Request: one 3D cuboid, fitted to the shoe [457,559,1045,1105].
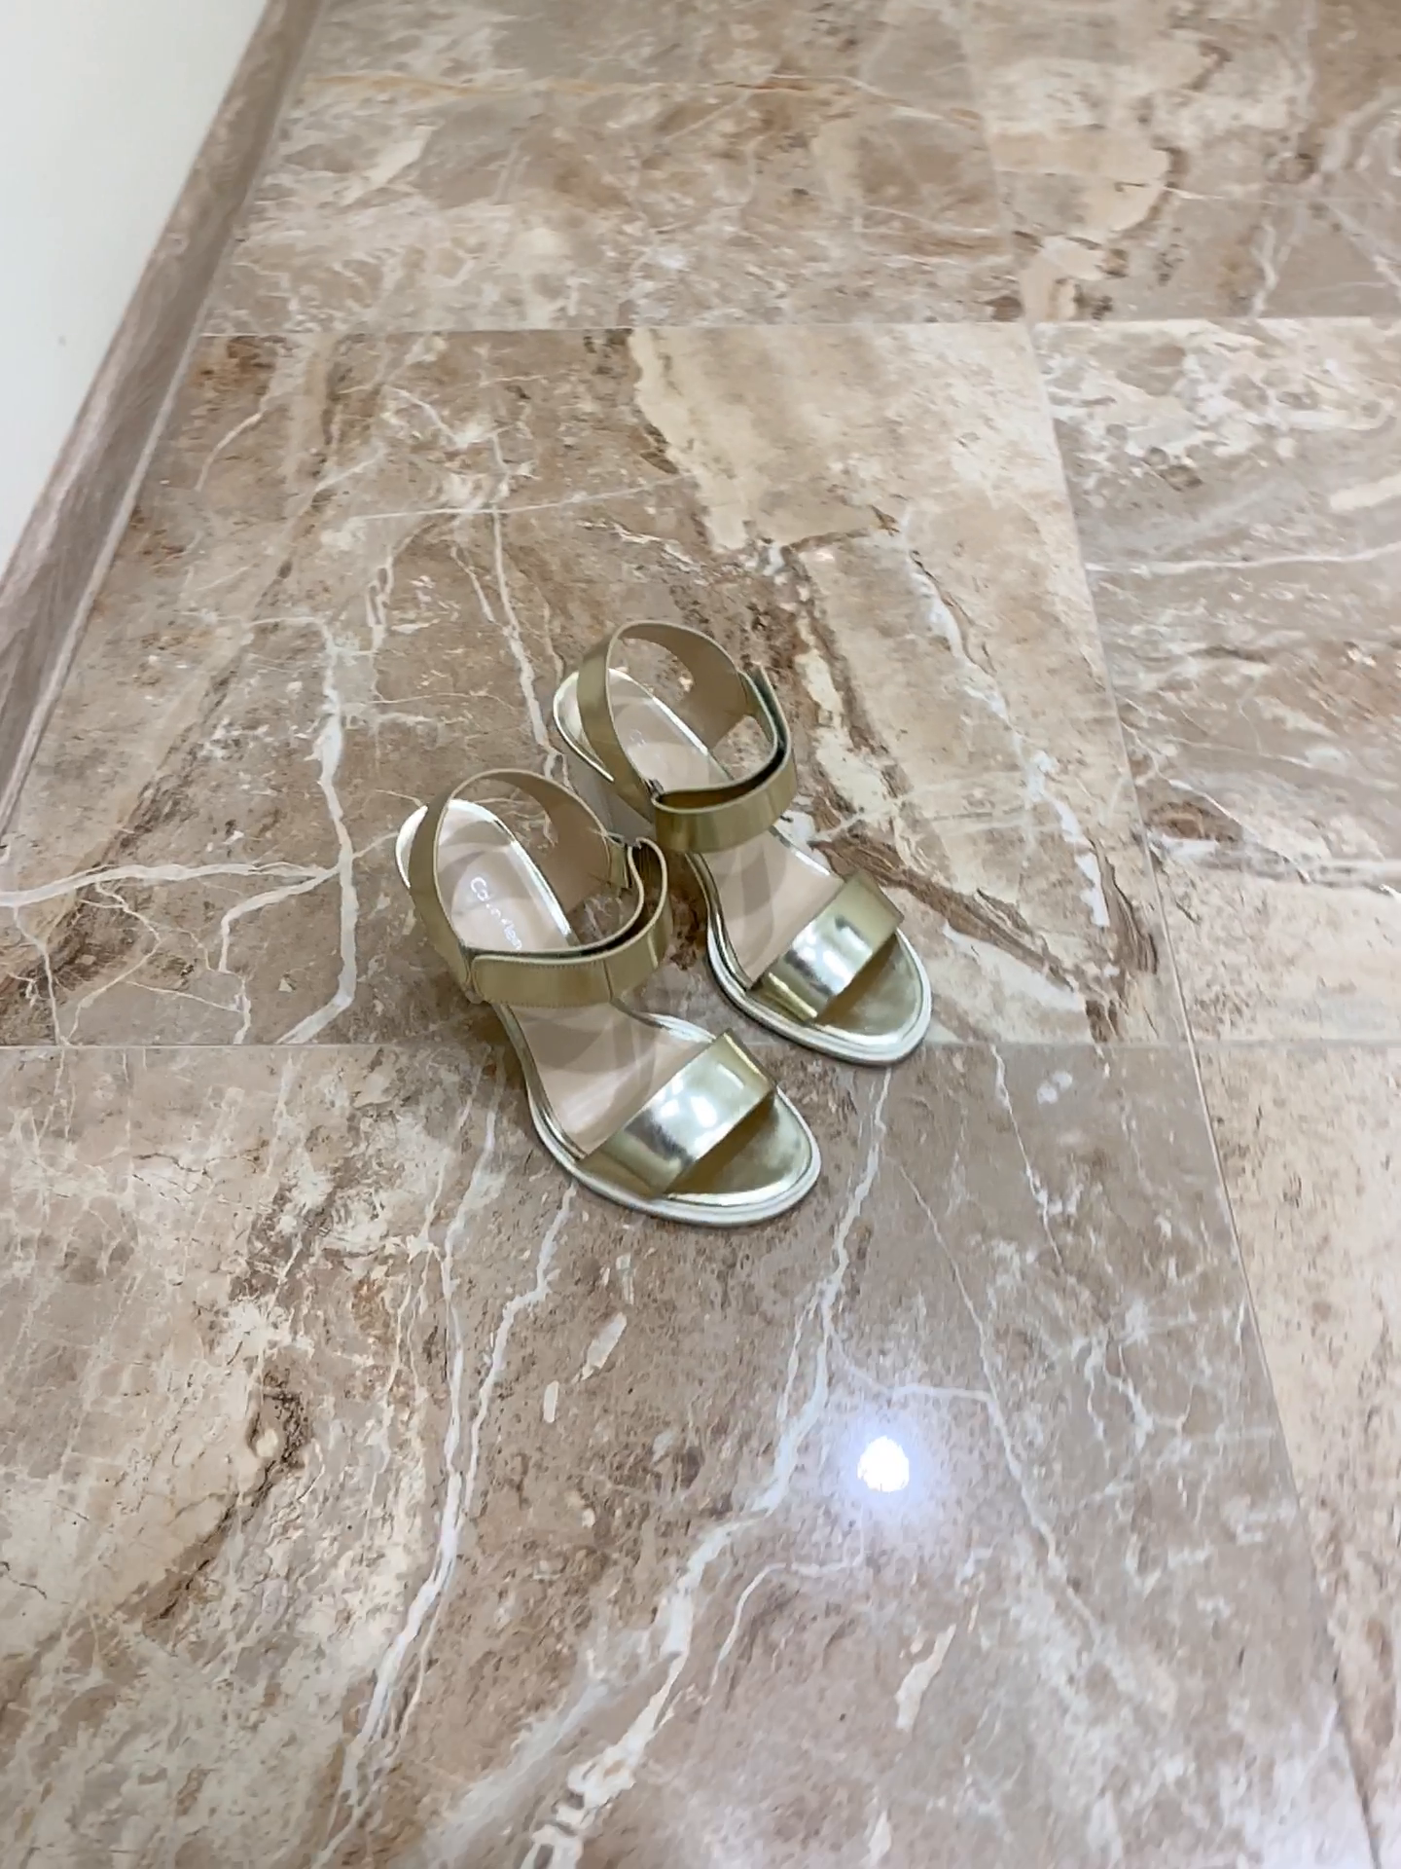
[{"bbox_3d":[0.018,-0.050,0.643,0.231,0.120,0.100,32,60,23],"label":"shoe"}]

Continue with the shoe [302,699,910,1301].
[{"bbox_3d":[-0.039,0.024,0.591,0.220,0.129,0.095,32,60,23],"label":"shoe"}]
